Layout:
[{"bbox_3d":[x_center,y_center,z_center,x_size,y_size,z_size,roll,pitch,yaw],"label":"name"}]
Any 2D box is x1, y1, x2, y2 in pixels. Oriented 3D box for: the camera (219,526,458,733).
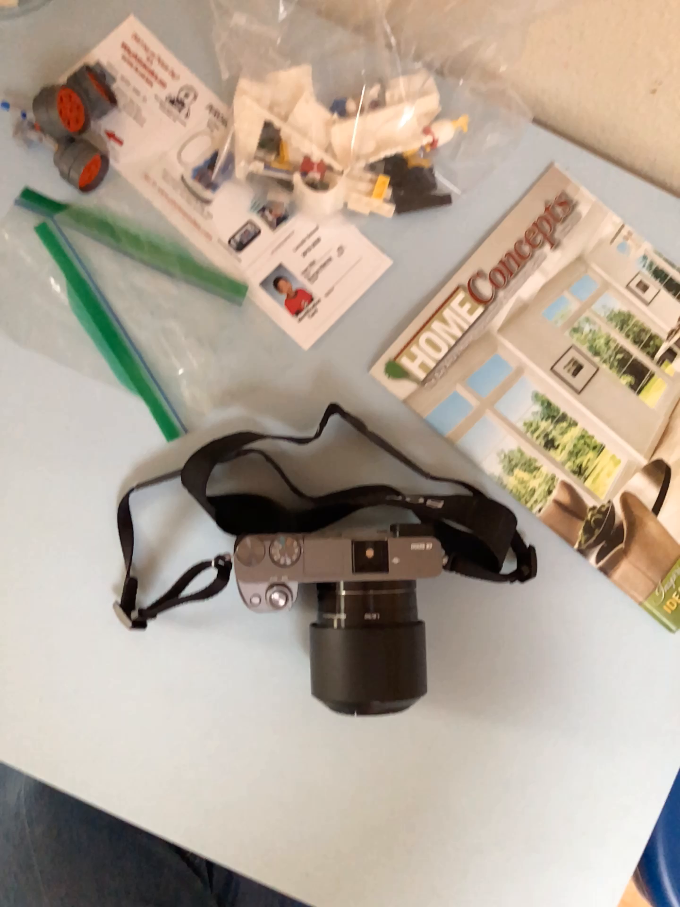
[{"bbox_3d":[-0.003,0.101,0.449,0.130,0.070,0.110,0,82,-3],"label":"camera"}]
